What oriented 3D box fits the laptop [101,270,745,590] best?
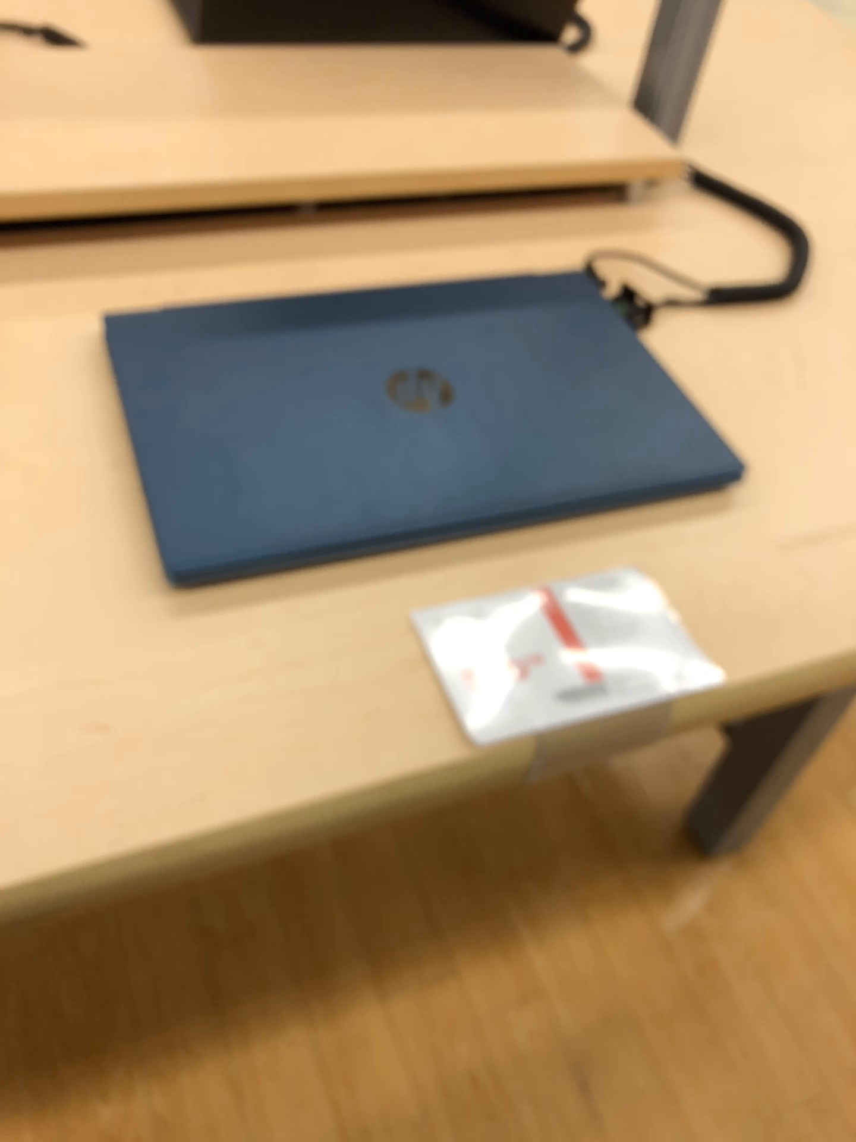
[{"bbox_3d":[-0.007,-0.108,0.622,0.353,0.012,0.220,-12,53,-18],"label":"laptop"}]
